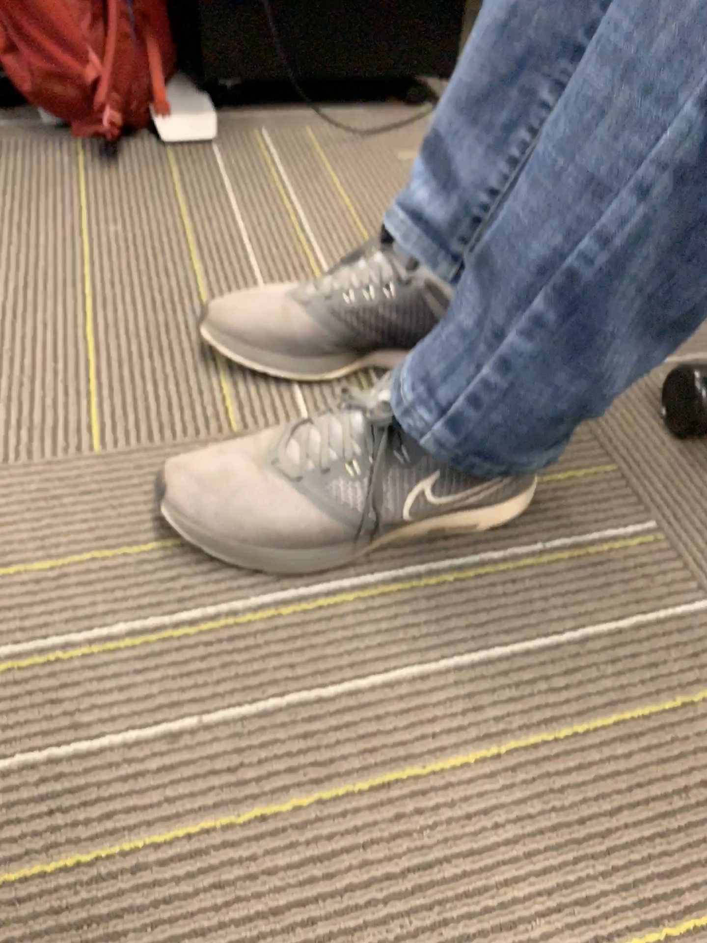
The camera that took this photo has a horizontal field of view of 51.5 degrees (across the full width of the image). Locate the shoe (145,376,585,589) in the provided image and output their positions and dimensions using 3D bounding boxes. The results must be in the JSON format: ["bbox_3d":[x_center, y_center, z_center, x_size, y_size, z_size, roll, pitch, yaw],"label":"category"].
[{"bbox_3d":[0.003,0.003,0.541,0.286,0.078,0.125,-2,47,-8],"label":"shoe"}]

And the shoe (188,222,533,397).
[{"bbox_3d":[0.006,-0.151,0.675,0.283,0.078,0.133,4,46,-2],"label":"shoe"}]
